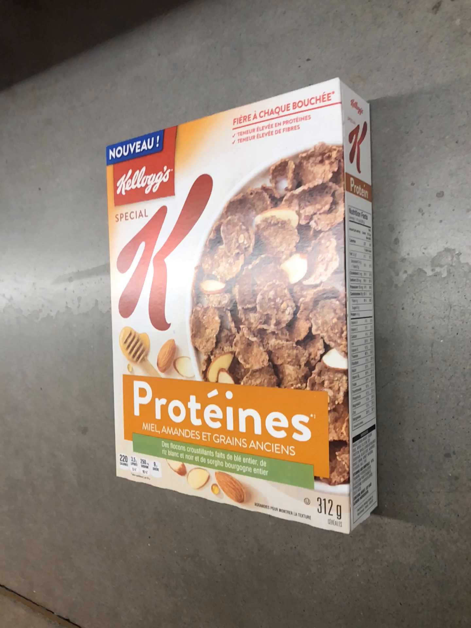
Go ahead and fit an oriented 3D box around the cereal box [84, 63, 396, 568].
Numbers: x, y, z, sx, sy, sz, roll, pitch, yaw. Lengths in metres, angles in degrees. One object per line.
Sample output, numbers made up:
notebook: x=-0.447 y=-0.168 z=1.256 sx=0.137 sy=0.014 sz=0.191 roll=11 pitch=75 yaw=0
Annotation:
cereal box: x=-0.008 y=0.003 z=0.338 sx=0.201 sy=0.050 sz=0.250 roll=-1 pitch=92 yaw=37
